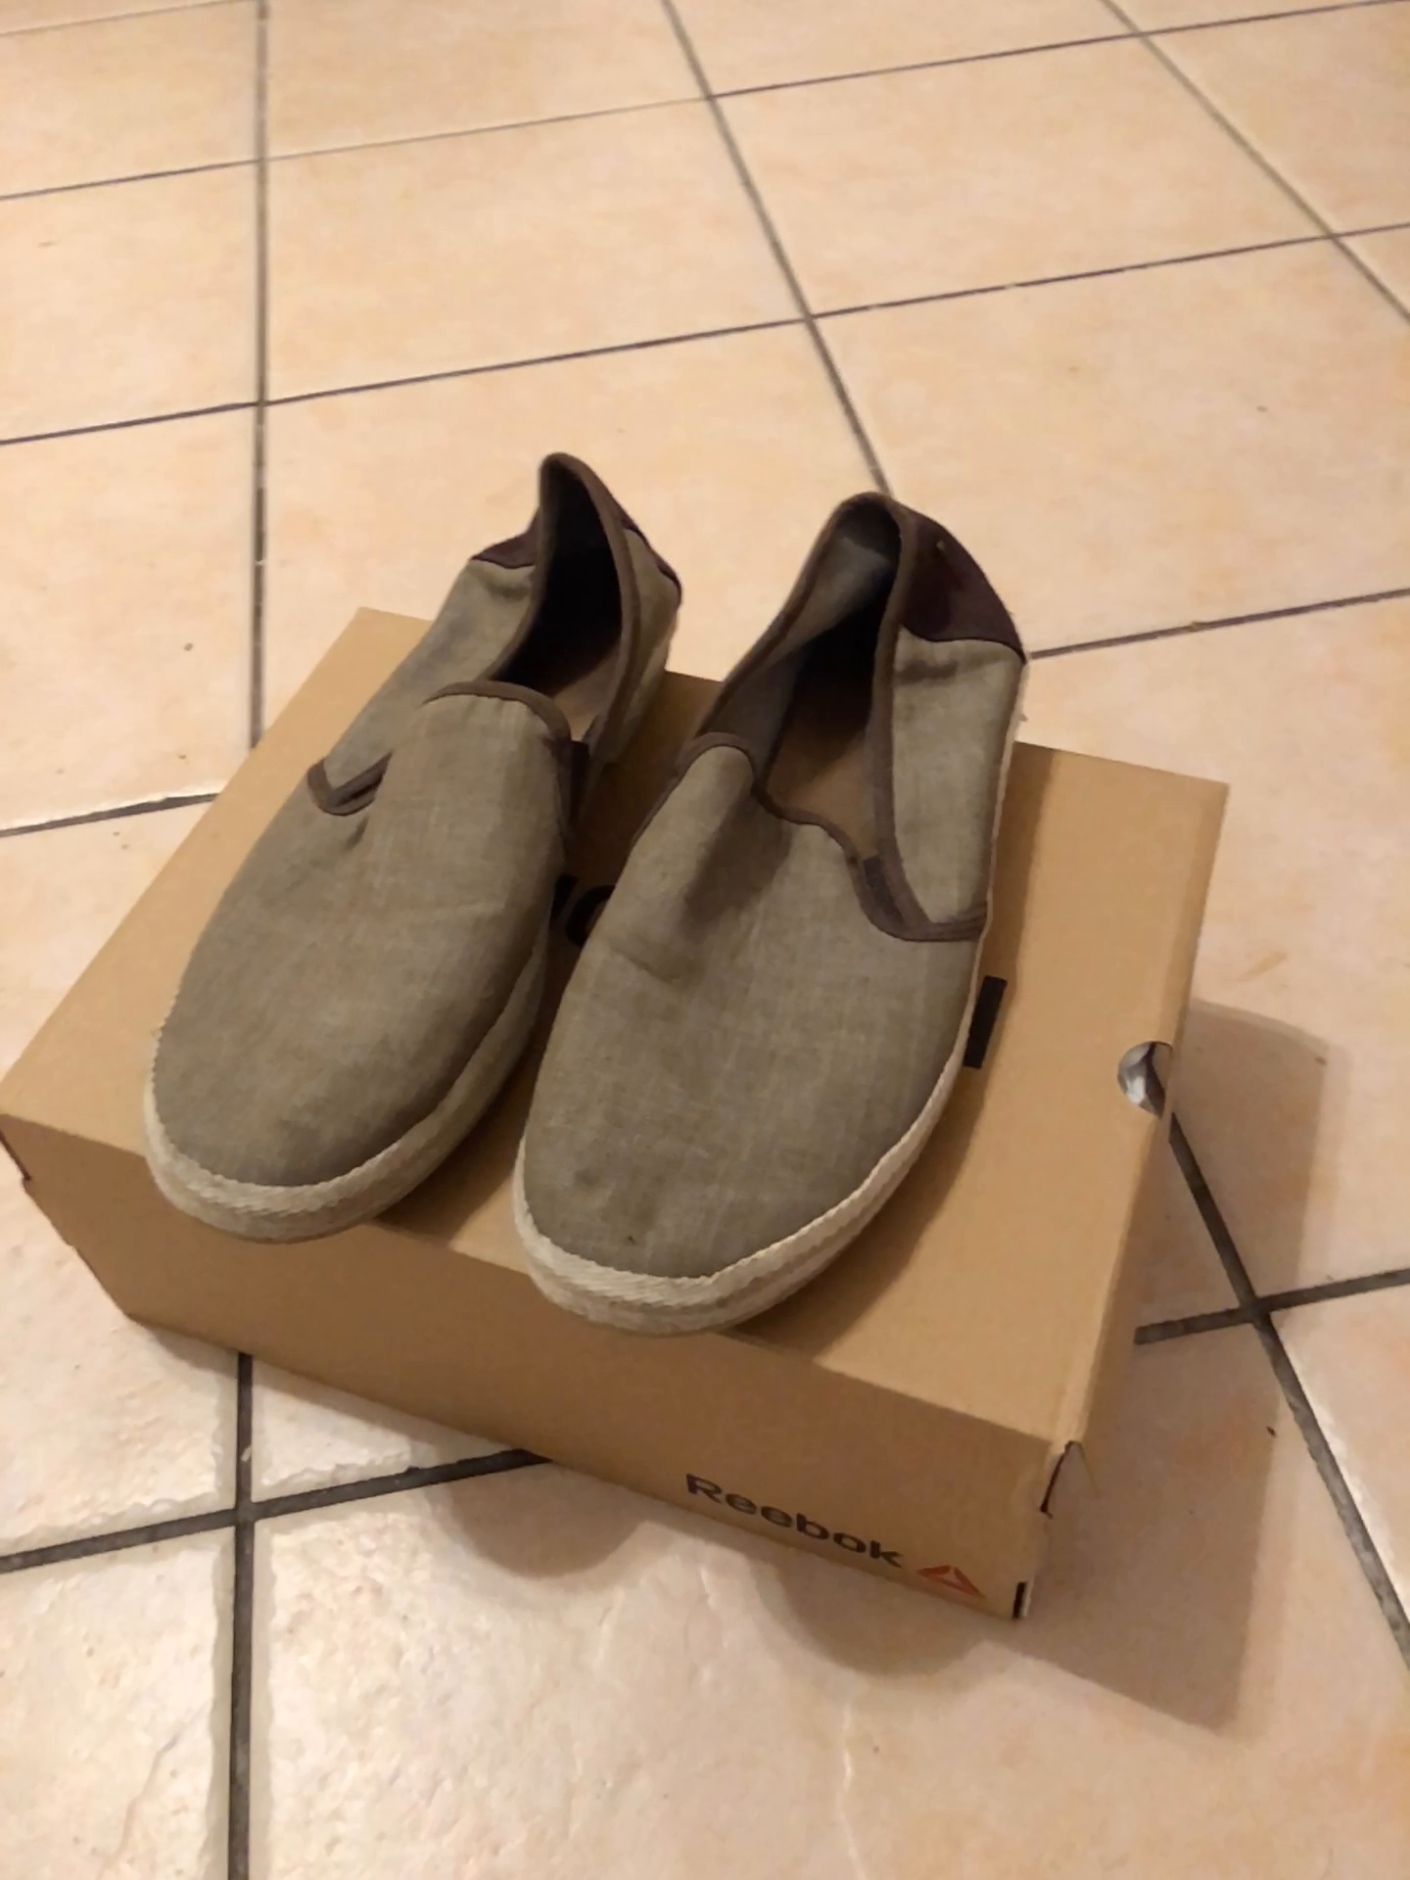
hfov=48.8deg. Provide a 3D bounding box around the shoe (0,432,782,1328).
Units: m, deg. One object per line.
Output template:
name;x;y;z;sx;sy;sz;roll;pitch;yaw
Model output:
shoe;-0.074;-0.041;0.478;0.110;0.069;0.294;13;51;15

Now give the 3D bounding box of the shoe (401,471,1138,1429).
shoe;0.034;-0.019;0.429;0.100;0.069;0.272;16;52;17
